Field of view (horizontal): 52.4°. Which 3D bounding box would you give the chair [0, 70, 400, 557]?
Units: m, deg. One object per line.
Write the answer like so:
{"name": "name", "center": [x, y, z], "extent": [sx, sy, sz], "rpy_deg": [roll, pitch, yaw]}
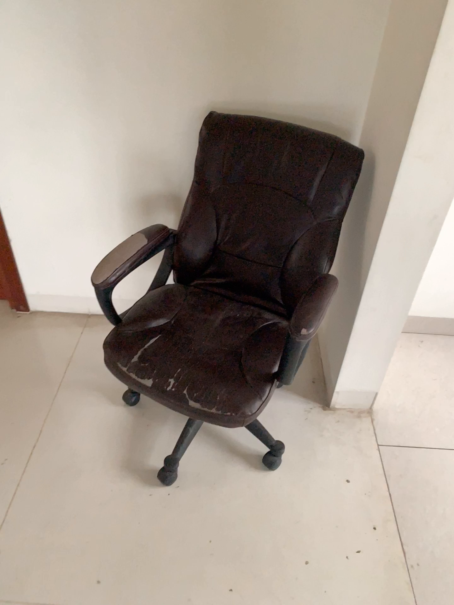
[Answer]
{"name": "chair", "center": [-0.054, -0.006, 1.355], "extent": [0.701, 0.996, 0.792], "rpy_deg": [19, 42, 18]}
